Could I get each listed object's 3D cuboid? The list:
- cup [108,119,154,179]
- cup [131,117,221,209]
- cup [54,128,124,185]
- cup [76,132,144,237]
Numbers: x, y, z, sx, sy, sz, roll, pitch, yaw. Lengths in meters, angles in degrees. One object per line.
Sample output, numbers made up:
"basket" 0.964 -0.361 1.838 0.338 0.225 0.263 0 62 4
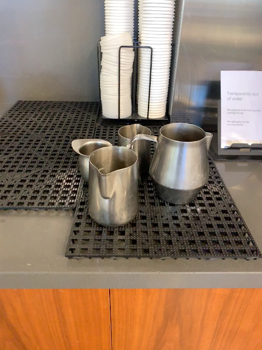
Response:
"cup" 0.003 -0.056 0.545 0.070 0.070 0.111 7 33 8
"cup" 0.080 -0.026 0.499 0.140 0.119 0.101 8 33 11
"cup" -0.076 -0.038 0.513 0.110 0.070 0.070 9 34 11
"cup" -0.028 0.011 0.447 0.080 0.119 0.121 6 33 7
